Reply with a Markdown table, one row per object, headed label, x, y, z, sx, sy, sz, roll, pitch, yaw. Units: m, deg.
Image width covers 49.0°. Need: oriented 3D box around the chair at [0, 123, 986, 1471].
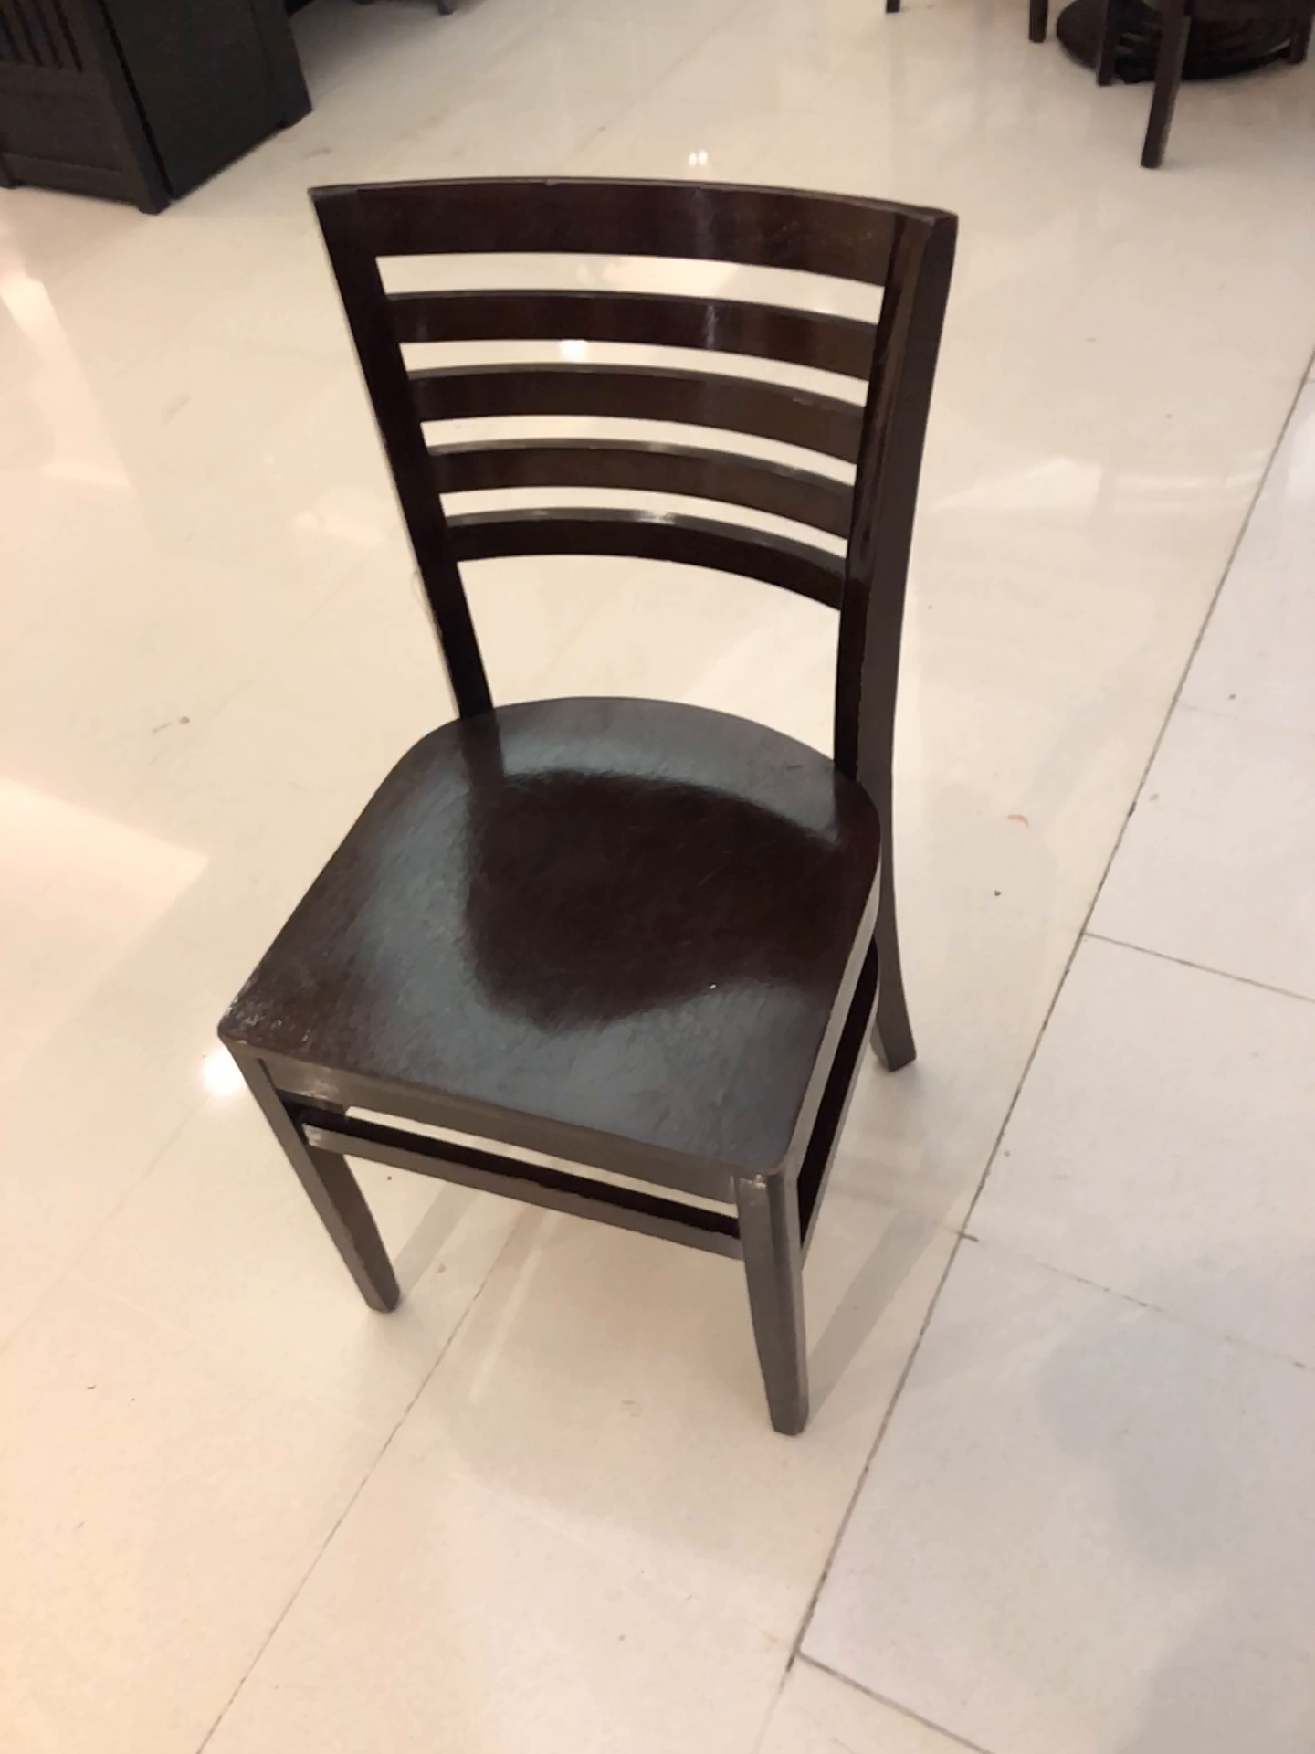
| label | x | y | z | sx | sy | sz | roll | pitch | yaw |
| --- | --- | --- | --- | --- | --- | --- | --- | --- | --- |
| chair | -0.055 | -0.025 | 1.125 | 0.460 | 0.845 | 0.543 | 12 | 51 | 18 |
